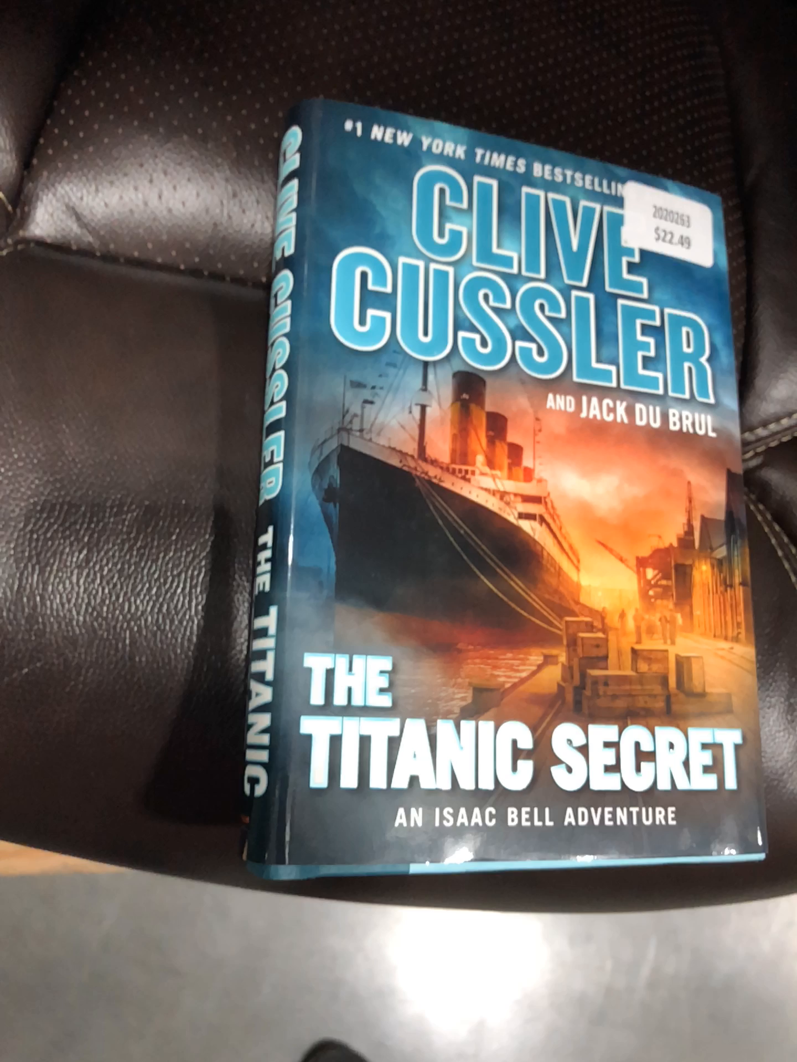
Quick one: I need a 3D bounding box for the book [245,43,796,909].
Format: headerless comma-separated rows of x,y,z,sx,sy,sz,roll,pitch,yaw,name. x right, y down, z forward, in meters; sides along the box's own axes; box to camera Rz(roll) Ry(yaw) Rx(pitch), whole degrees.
0.044,-0.017,0.291,0.166,0.040,0.249,5,77,-17,book
